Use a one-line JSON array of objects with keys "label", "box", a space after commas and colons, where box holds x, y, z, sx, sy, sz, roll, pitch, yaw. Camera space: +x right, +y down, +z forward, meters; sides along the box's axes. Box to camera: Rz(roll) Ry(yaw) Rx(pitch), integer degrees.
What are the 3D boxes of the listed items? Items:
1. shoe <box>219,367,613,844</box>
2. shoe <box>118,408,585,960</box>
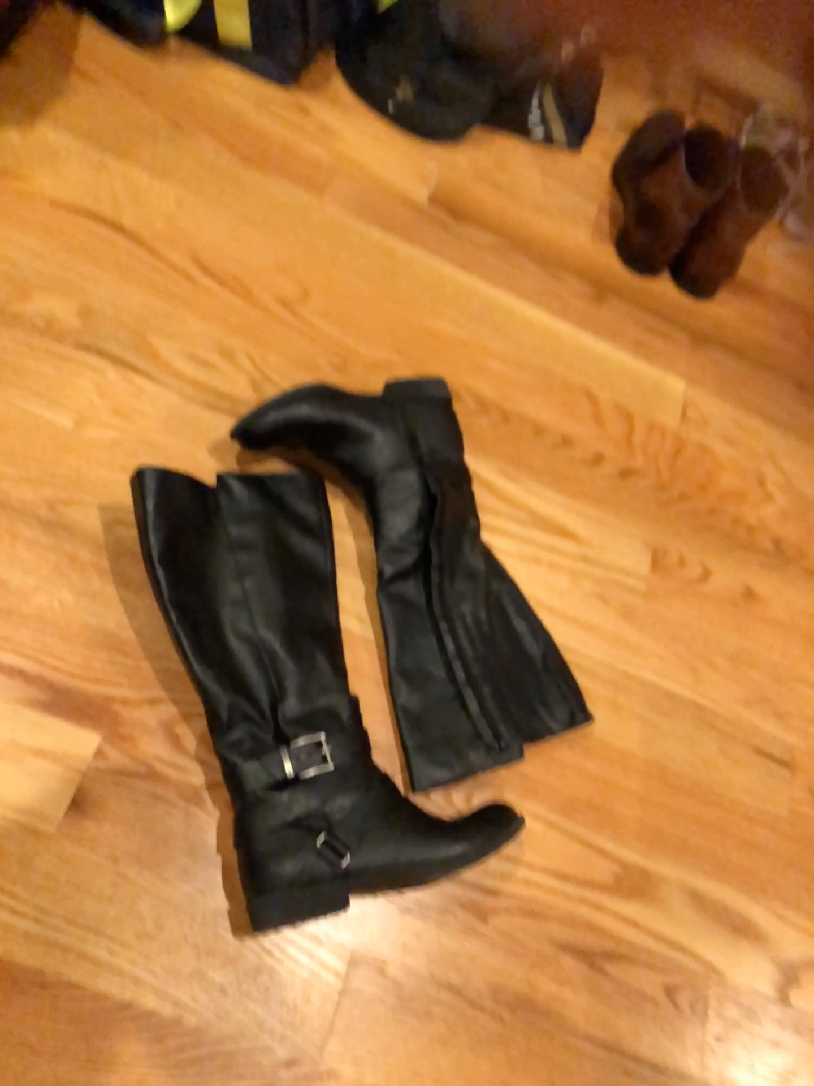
[{"label": "shoe", "box": [-0.006, 0.034, 0.801, 0.251, 0.094, 0.394, -4, 65, -23]}, {"label": "shoe", "box": [-0.061, 0.091, 0.750, 0.291, 0.104, 0.404, -5, 67, -24]}]
